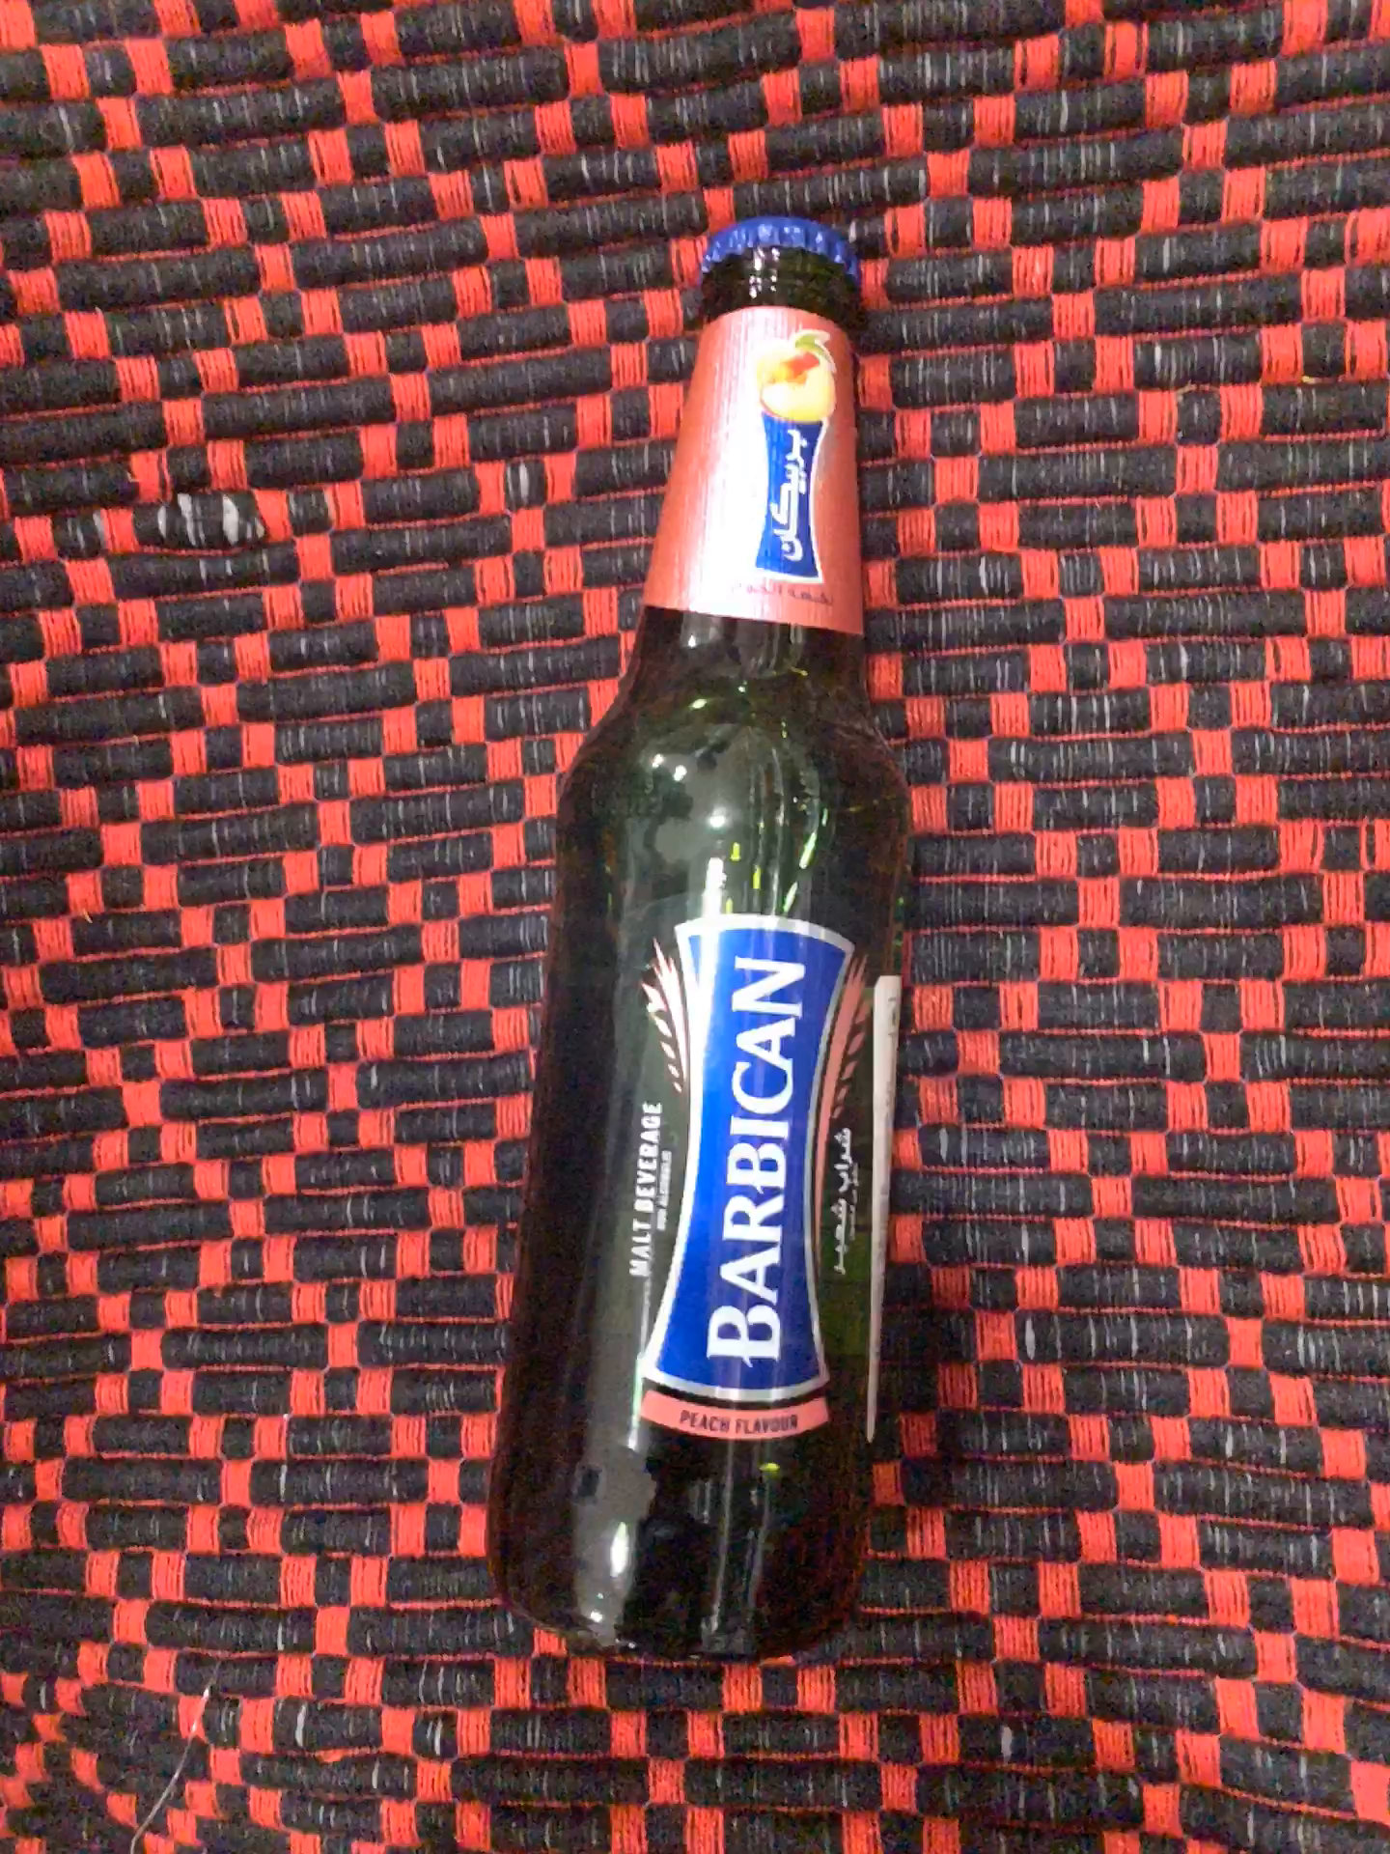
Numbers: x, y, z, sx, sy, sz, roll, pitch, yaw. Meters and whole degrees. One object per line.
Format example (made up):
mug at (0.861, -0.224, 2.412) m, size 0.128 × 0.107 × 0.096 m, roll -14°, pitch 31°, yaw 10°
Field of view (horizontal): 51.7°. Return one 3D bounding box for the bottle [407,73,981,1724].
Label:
bottle at (0.002, -0.007, 0.223) m, size 0.050 × 0.050 × 0.220 m, roll -4°, pitch 78°, yaw 49°
